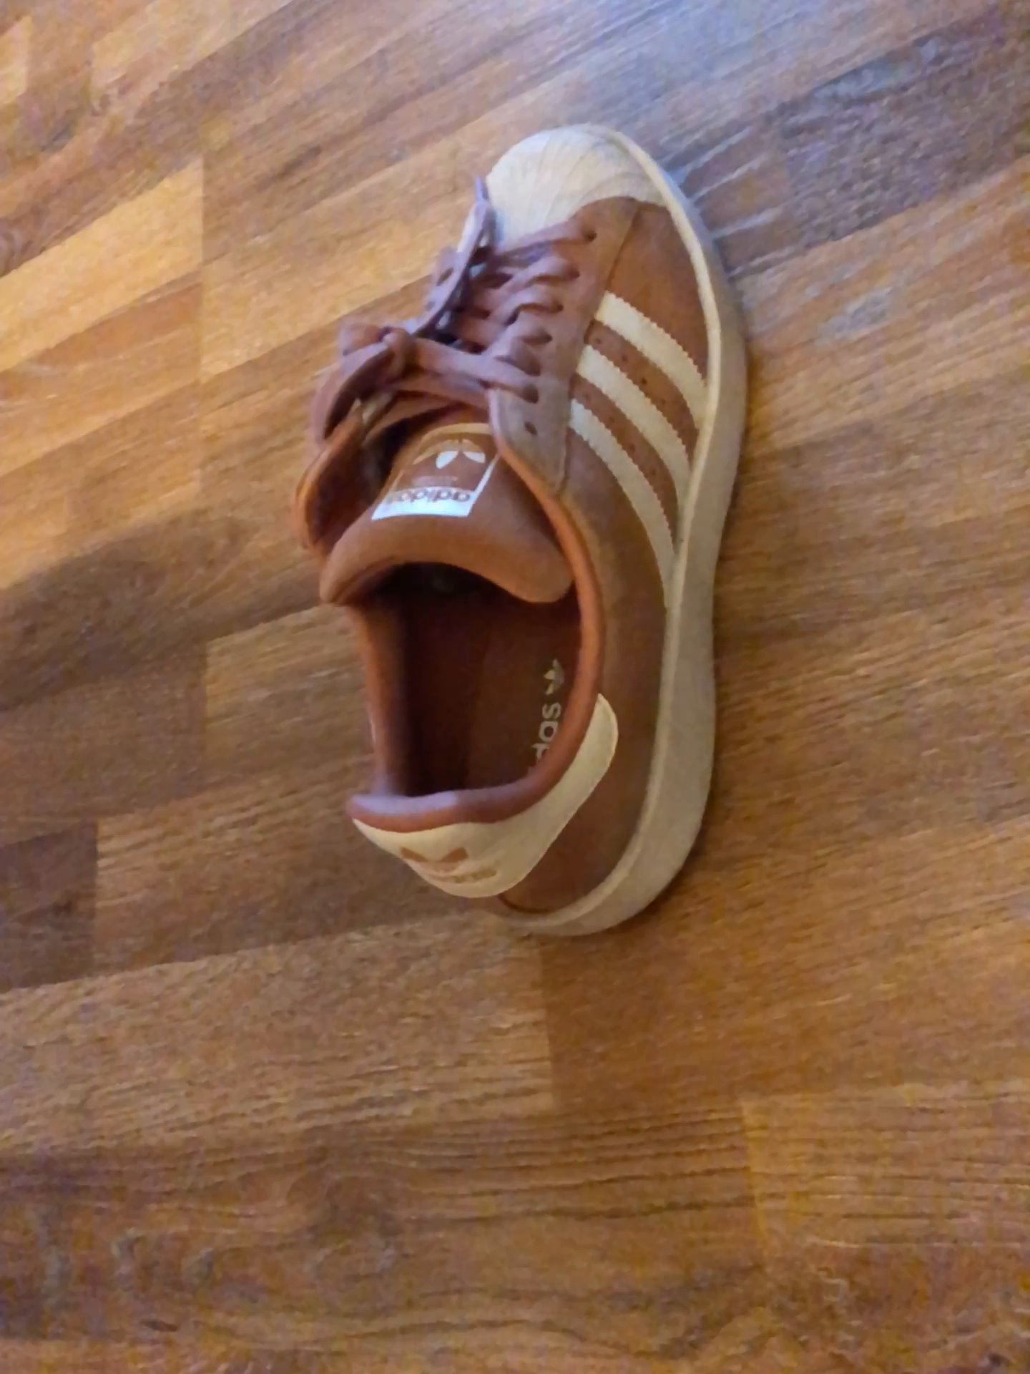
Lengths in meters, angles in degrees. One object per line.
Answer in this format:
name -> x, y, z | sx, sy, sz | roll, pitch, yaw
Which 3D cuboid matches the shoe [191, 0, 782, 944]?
shoe -> -0.001, -0.064, 0.330 | 0.110, 0.110, 0.260 | -9, 70, 29
